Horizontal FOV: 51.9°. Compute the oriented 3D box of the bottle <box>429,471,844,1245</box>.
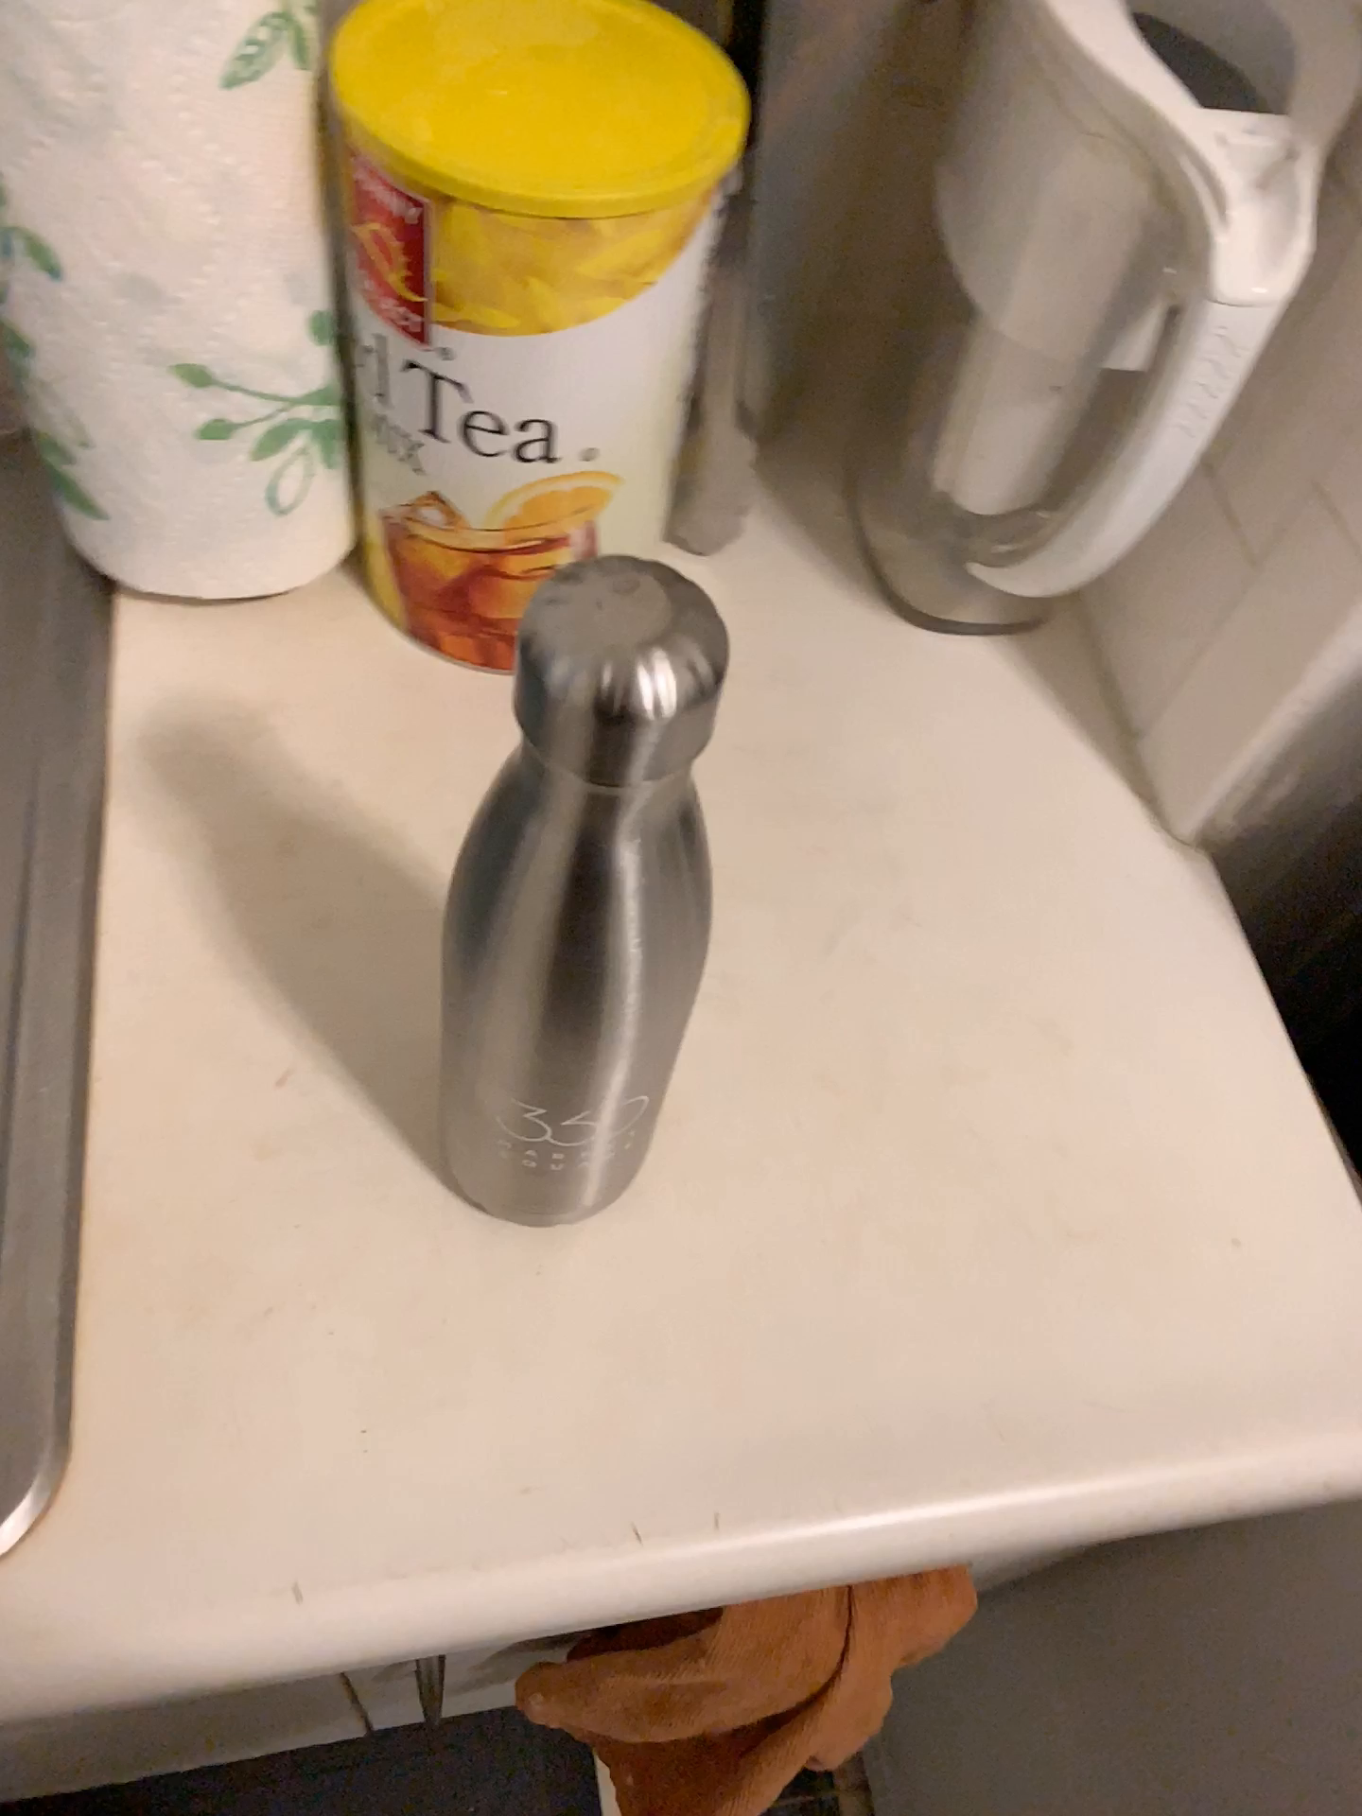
[{"bbox_3d":[-0.027,0.012,0.366,0.070,0.249,0.070,5,57,-8],"label":"bottle"}]
